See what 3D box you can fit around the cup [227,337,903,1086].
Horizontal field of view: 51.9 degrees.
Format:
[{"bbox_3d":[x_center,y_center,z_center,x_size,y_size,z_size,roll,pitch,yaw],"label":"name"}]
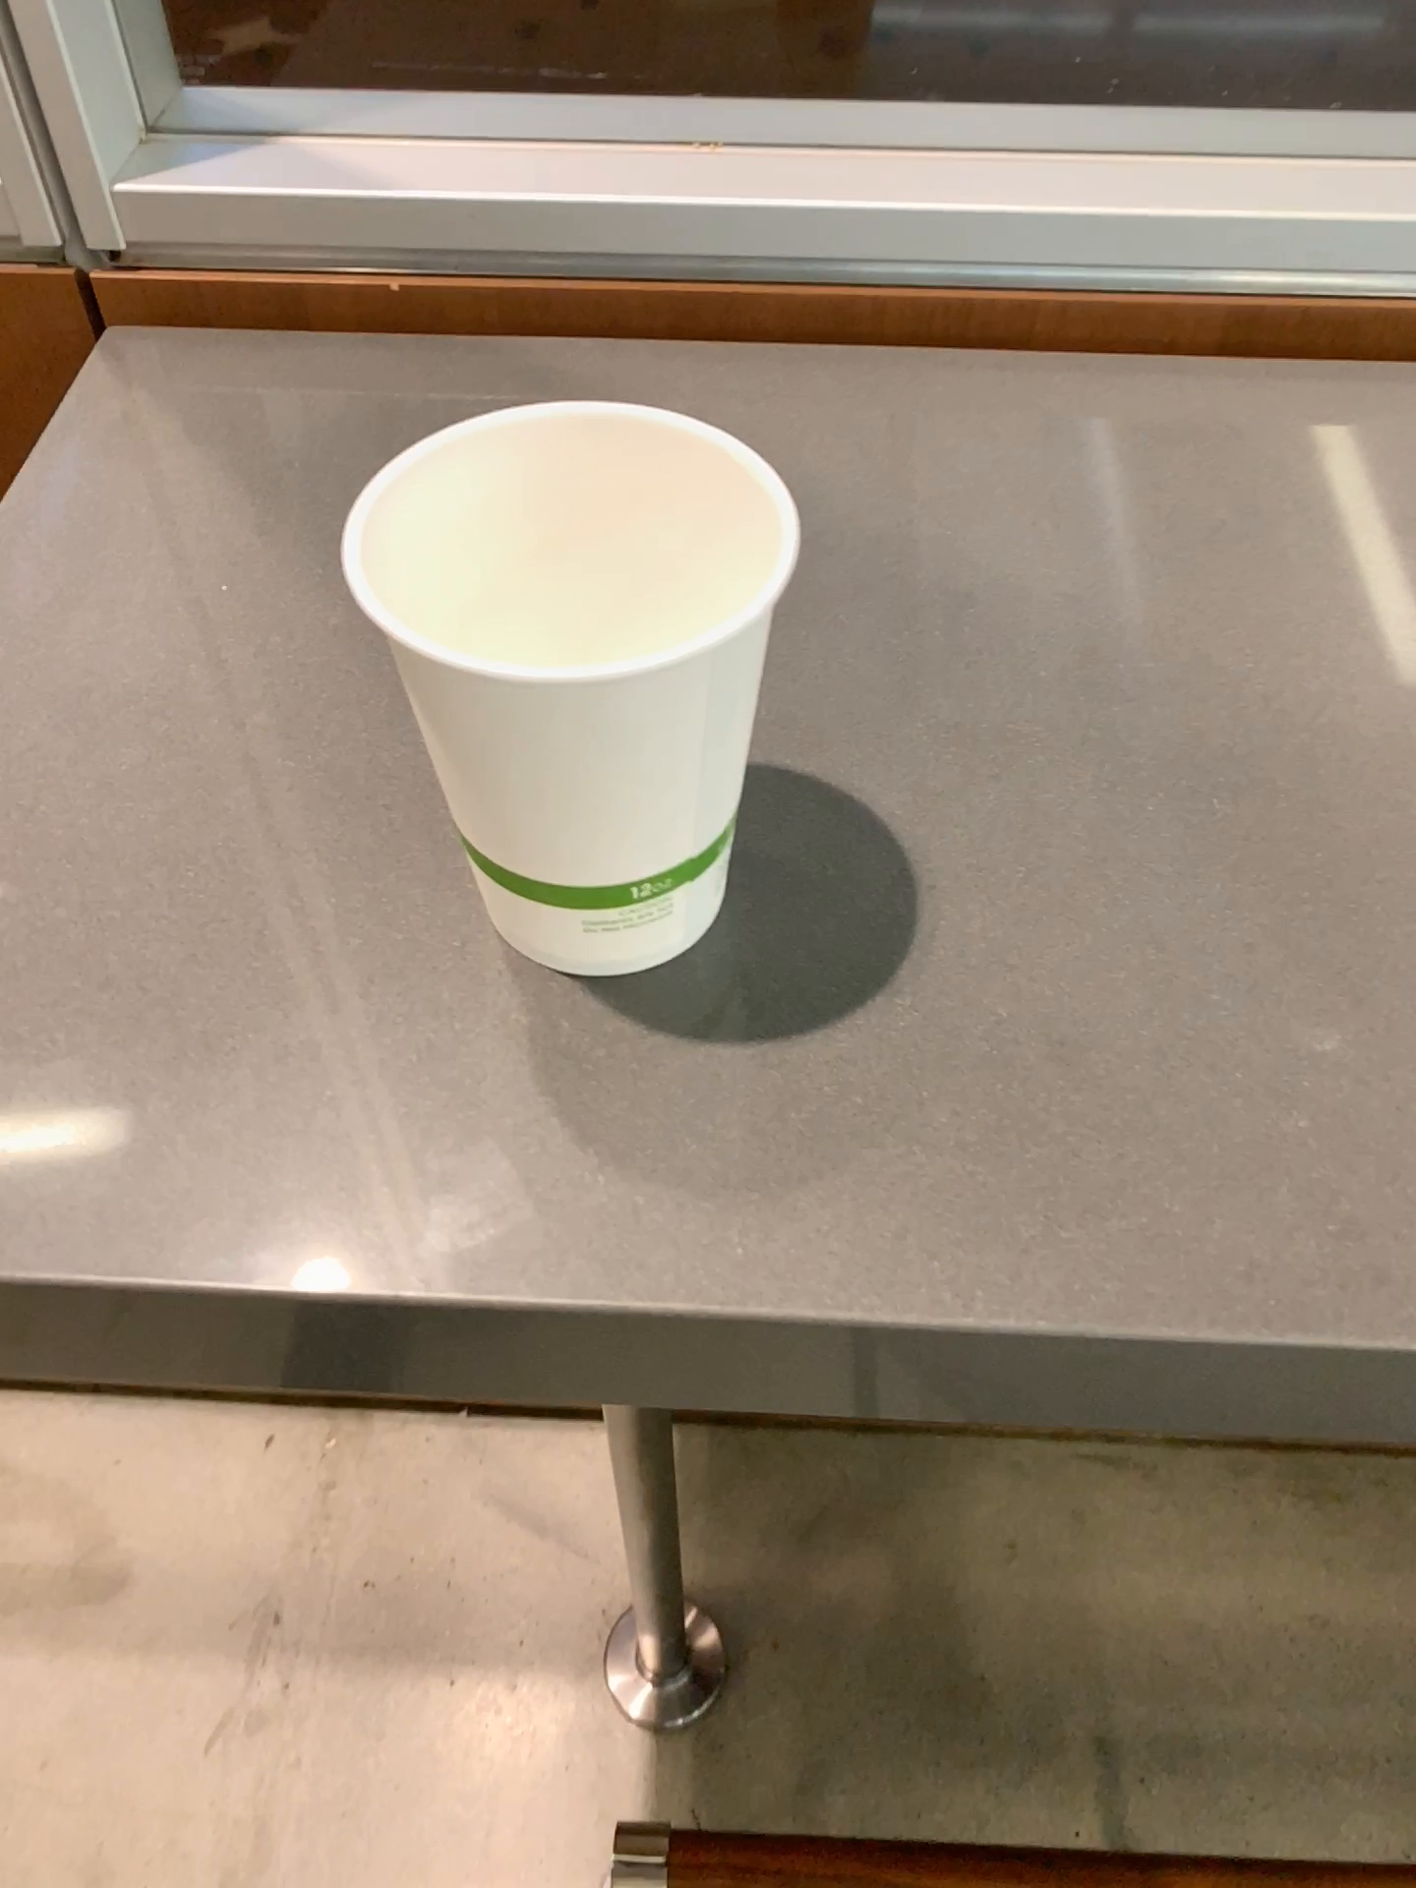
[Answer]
[{"bbox_3d":[-0.023,-0.049,0.304,0.090,0.099,0.090,0,50,0],"label":"cup"}]
